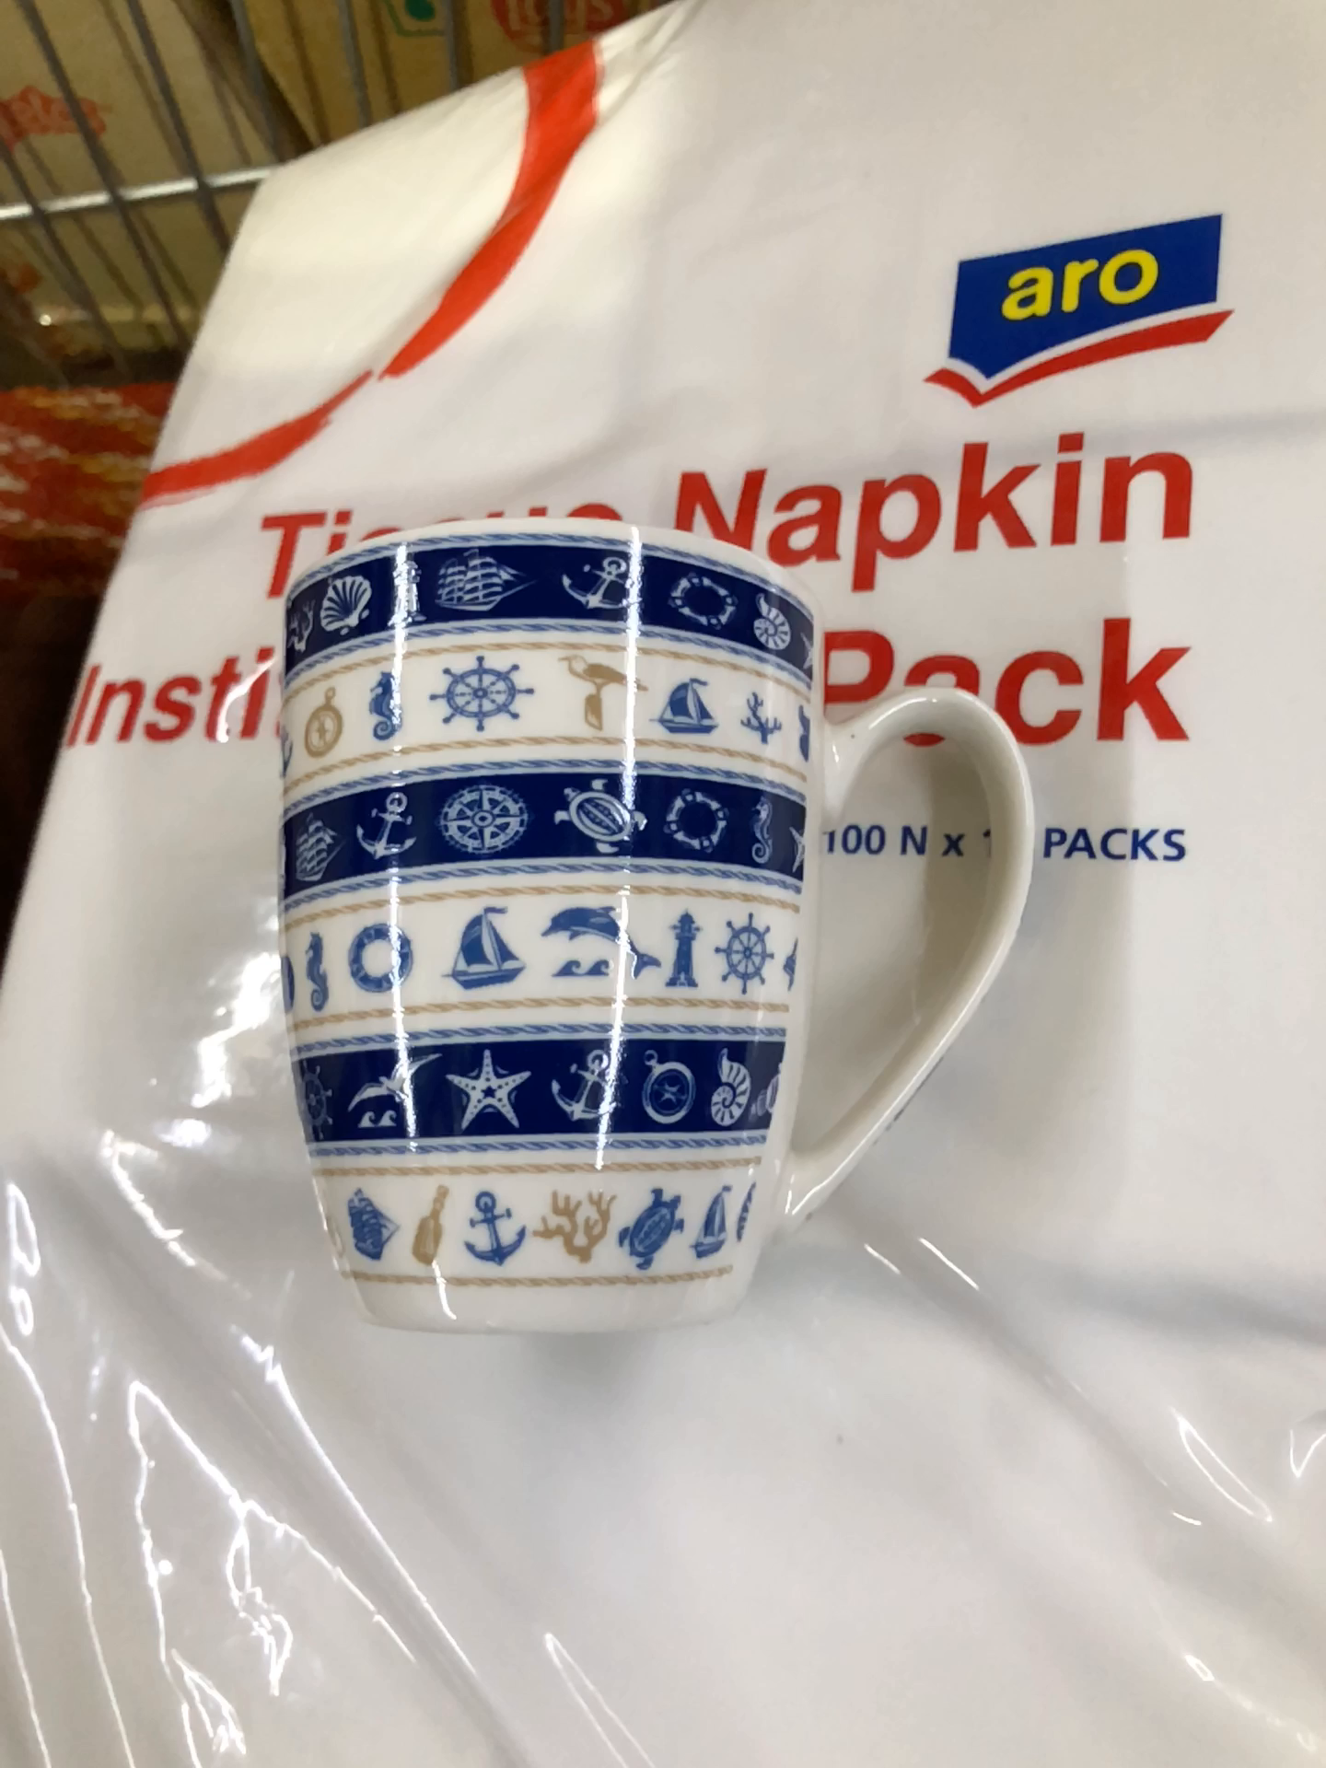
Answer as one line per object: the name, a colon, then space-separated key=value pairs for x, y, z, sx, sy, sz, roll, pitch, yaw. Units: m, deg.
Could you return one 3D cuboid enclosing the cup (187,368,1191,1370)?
cup: x=-0.001 y=0.005 z=0.218 sx=0.120 sy=0.080 sz=0.110 roll=4 pitch=80 yaw=-20
